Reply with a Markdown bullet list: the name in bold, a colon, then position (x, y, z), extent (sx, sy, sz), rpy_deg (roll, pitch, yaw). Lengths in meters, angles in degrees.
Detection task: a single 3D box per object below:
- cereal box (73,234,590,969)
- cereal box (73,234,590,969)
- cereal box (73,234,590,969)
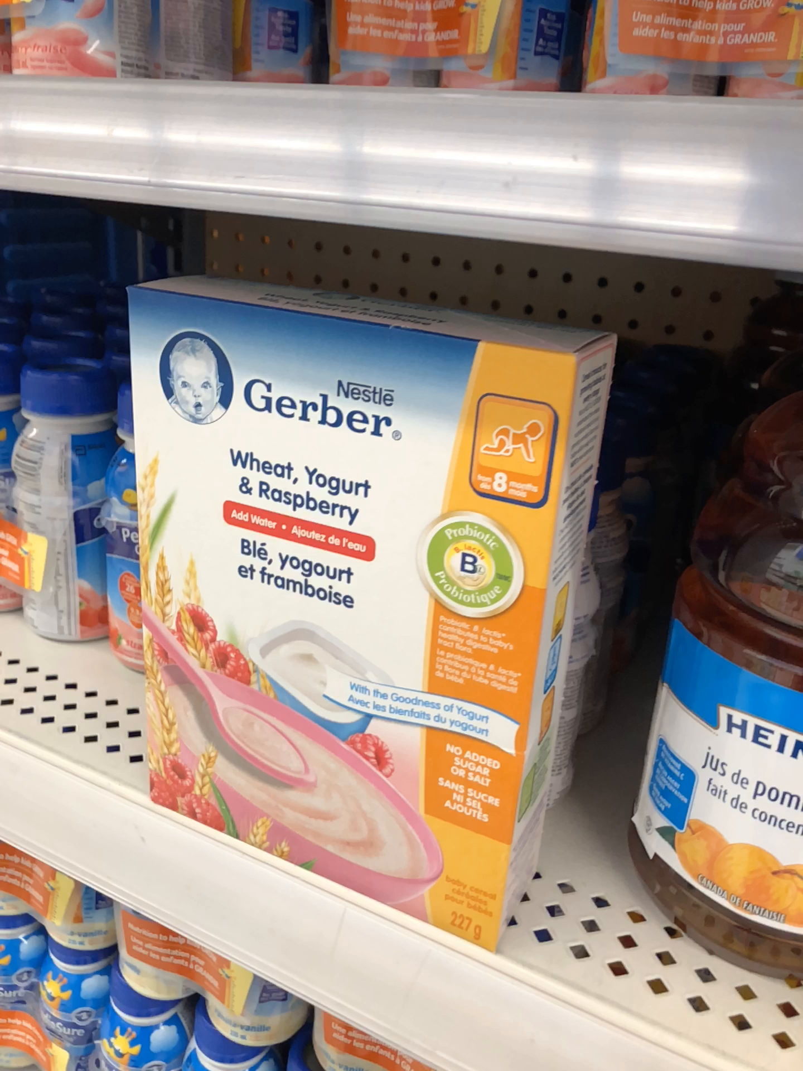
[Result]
- **cereal box**: position (-0.031, 0.015, 0.286), extent (0.140, 0.199, 0.050), rpy_deg (15, 22, 23)
- **cereal box**: position (-0.031, 0.015, 0.286), extent (0.140, 0.199, 0.050), rpy_deg (15, 22, 23)
- **cereal box**: position (-0.031, 0.015, 0.286), extent (0.140, 0.199, 0.050), rpy_deg (15, 22, 23)
